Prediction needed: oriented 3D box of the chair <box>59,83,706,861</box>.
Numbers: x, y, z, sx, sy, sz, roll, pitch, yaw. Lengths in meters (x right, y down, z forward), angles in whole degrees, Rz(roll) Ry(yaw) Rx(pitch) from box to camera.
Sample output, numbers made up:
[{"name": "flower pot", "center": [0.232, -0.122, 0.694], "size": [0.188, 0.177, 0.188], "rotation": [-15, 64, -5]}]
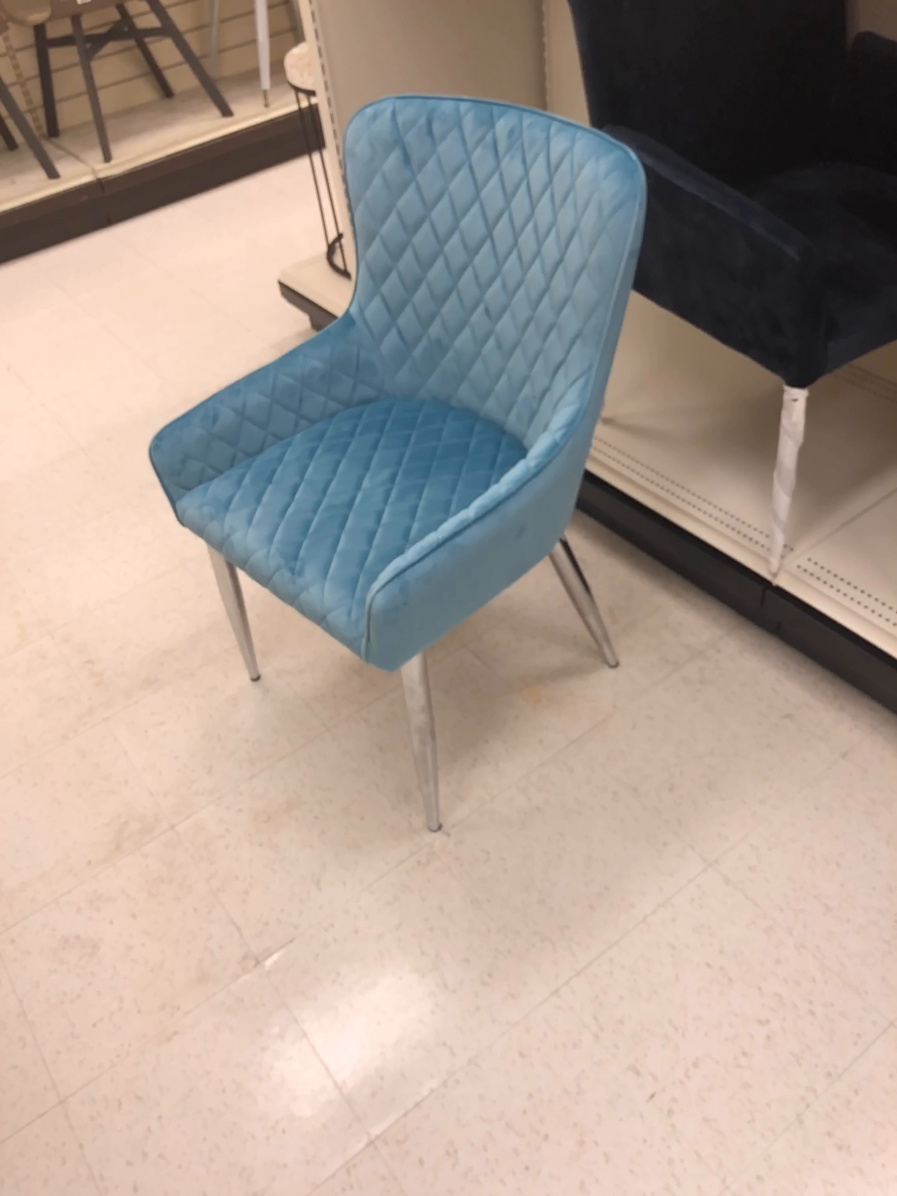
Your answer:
[{"name": "chair", "center": [-0.043, -0.194, 1.513], "size": [0.584, 0.870, 0.562], "rotation": [-35, 48, -26]}]

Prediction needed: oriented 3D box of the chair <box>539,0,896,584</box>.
[{"name": "chair", "center": [0.562, -0.580, 1.571], "size": [0.560, 0.777, 0.582], "rotation": [-26, 45, -18]}]
